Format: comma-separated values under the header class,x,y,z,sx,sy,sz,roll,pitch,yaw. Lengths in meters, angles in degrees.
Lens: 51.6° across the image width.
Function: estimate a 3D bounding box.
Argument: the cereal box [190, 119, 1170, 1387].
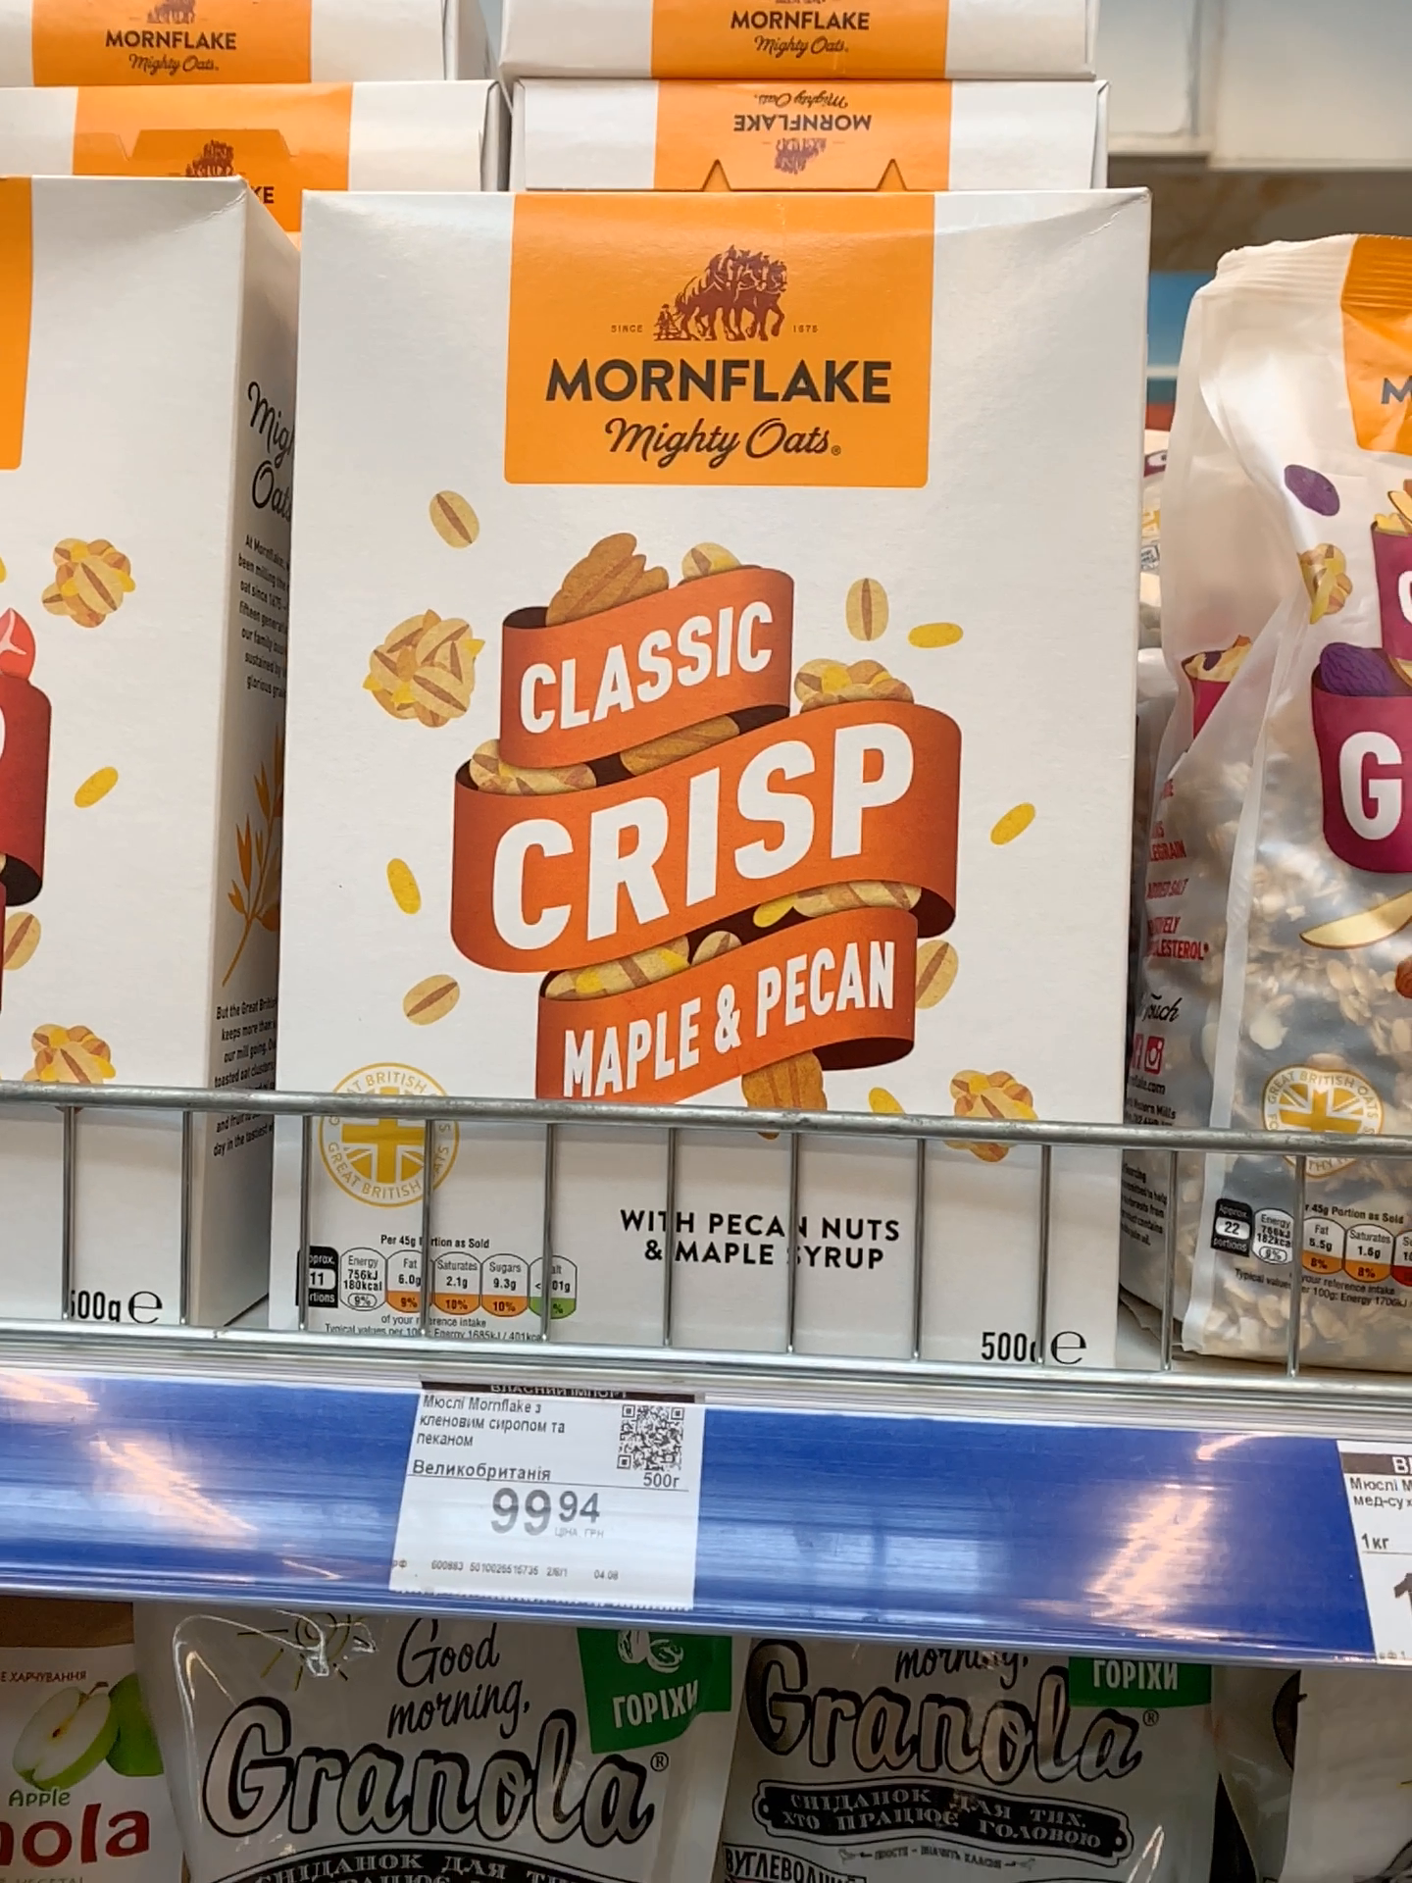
class,x,y,z,sx,sy,sz,roll,pitch,yaw
cereal box,-0.006,-0.041,0.324,0.190,0.250,0.060,2,1,3
